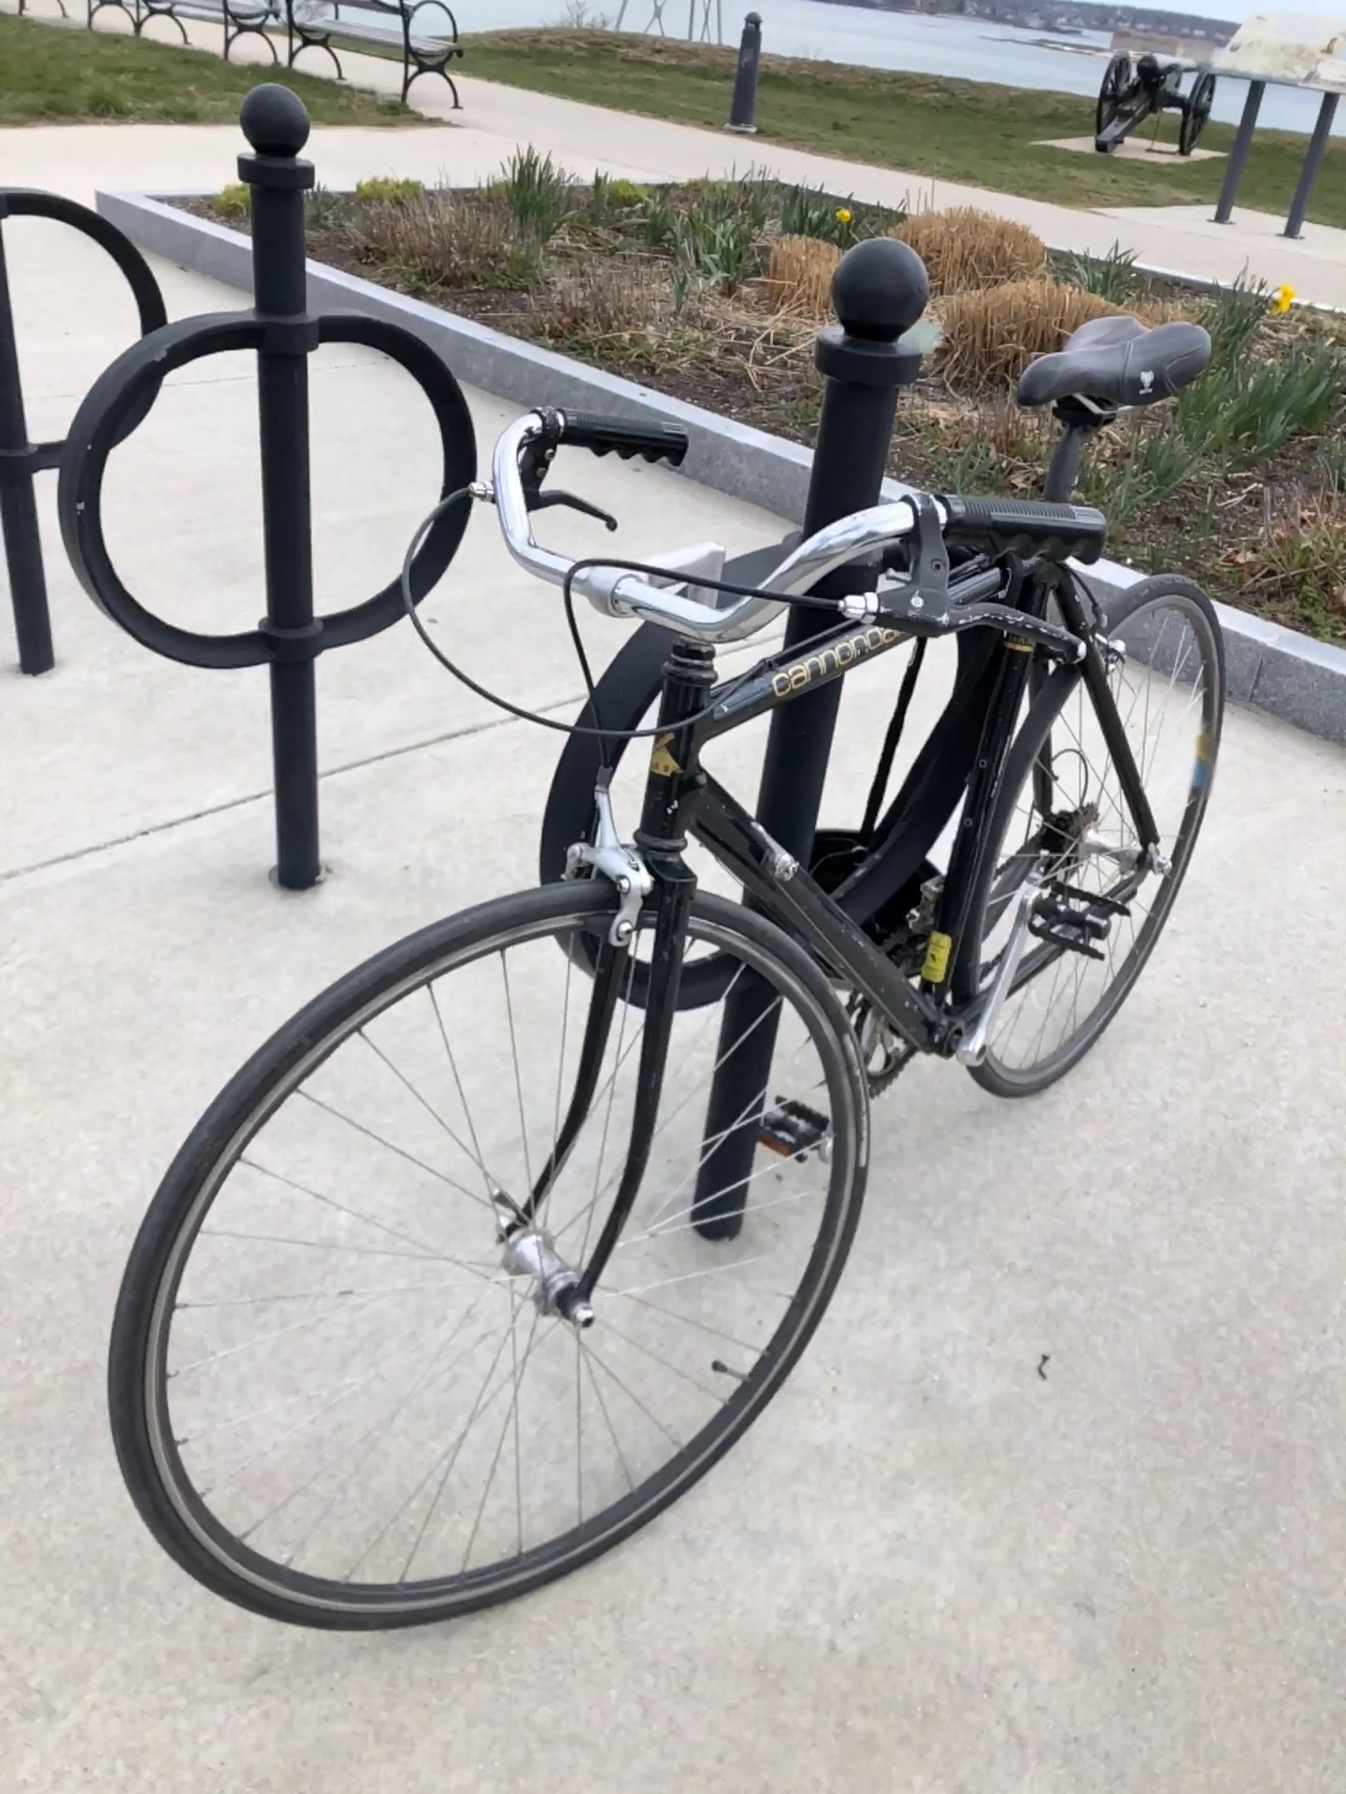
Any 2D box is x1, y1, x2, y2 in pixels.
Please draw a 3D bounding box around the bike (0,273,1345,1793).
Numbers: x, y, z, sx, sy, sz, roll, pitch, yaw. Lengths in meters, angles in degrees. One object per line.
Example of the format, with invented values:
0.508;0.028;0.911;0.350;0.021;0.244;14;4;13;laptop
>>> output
0.218;0.032;1.252;0.486;0.805;1.390;31;41;32;bike
